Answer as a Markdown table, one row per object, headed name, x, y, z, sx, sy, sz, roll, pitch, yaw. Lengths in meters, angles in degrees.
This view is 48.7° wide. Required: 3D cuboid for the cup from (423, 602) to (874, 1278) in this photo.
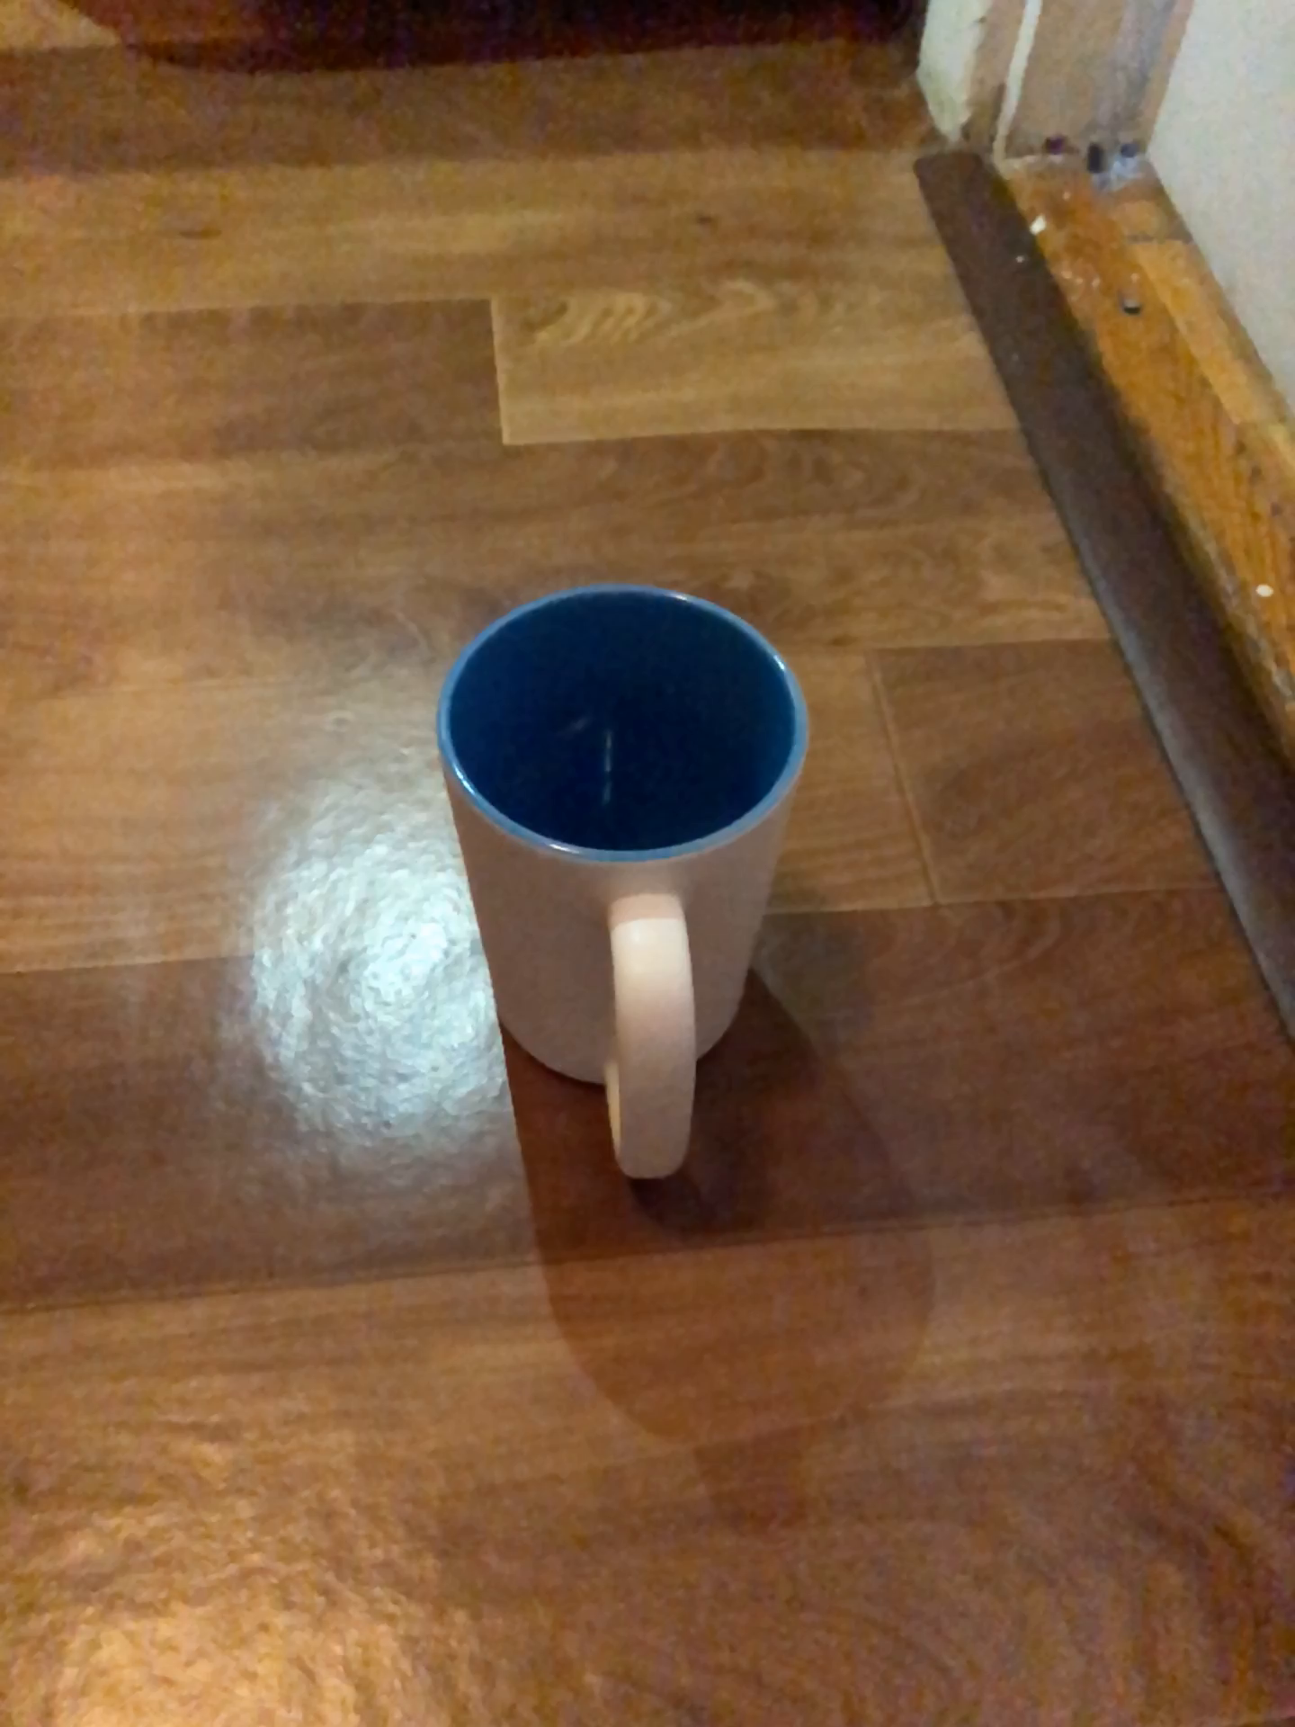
| name | x | y | z | sx | sy | sz | roll | pitch | yaw |
| --- | --- | --- | --- | --- | --- | --- | --- | --- | --- |
| cup | -0.004 | 0.021 | 0.362 | 0.088 | 0.112 | 0.130 | -1 | 54 | -3 |
